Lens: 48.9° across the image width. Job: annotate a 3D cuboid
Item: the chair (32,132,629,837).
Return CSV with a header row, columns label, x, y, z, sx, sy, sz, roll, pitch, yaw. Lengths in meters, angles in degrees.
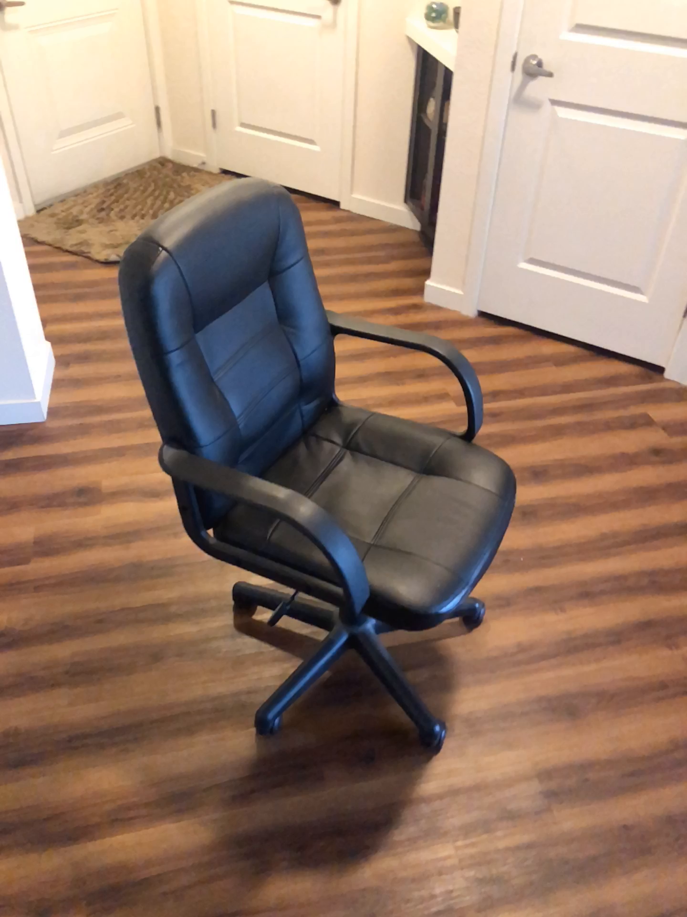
label,x,y,z,sx,sy,sz,roll,pitch,yaw
chair,0.010,0.039,1.461,0.668,1.012,0.665,20,42,20
